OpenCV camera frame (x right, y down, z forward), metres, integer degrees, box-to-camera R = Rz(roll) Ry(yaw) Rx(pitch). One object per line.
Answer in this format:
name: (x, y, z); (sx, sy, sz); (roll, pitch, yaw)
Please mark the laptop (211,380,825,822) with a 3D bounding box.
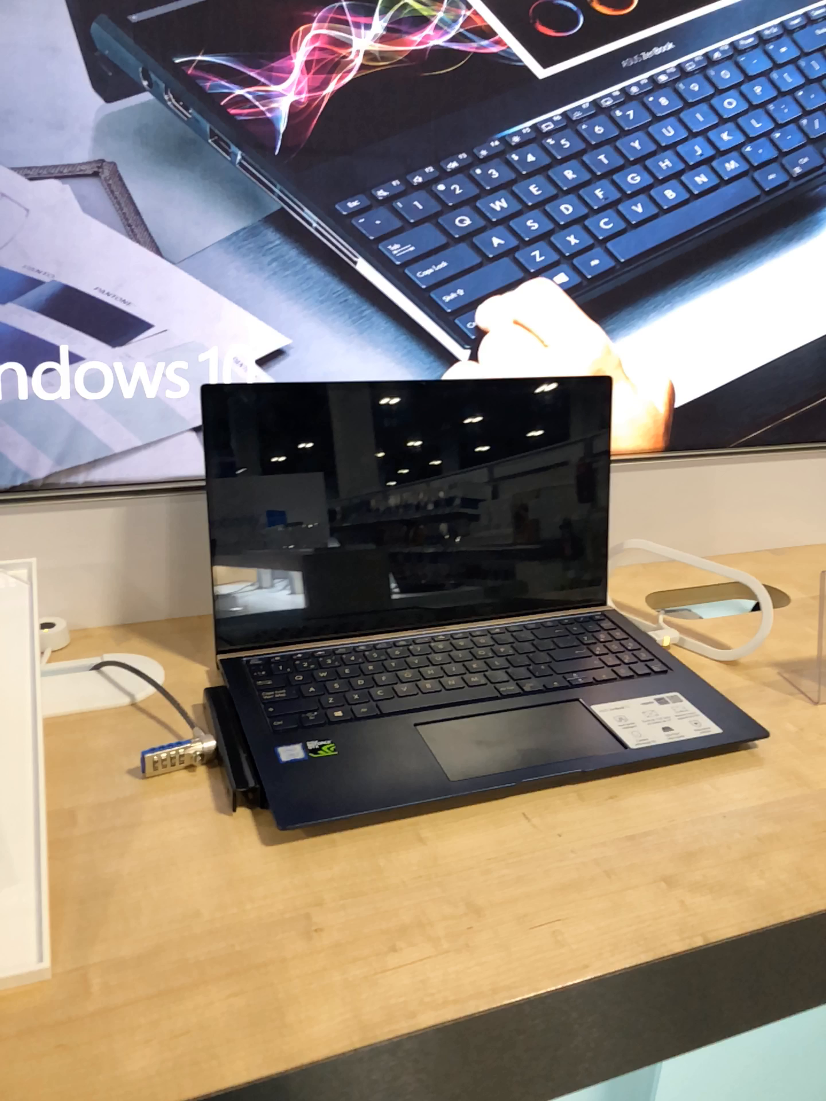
laptop: (0.047, 0.004, 0.641); (0.336, 0.196, 0.250); (-5, 22, -19)
